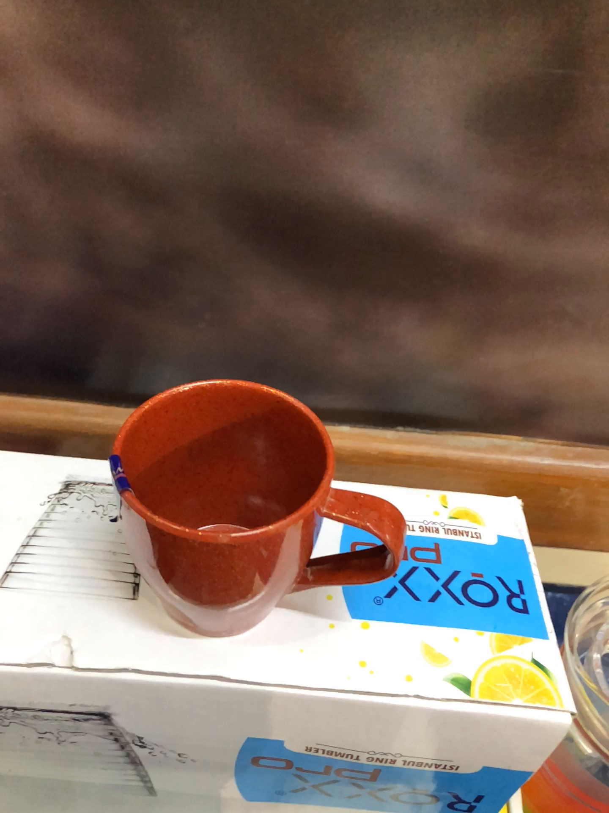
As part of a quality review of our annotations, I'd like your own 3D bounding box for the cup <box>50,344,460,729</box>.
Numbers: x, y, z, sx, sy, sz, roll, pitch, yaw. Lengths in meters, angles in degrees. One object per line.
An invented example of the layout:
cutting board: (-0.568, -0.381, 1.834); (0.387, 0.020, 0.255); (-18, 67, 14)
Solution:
cup: (-0.011, 0.038, 0.217); (0.100, 0.070, 0.070); (13, 40, 11)
